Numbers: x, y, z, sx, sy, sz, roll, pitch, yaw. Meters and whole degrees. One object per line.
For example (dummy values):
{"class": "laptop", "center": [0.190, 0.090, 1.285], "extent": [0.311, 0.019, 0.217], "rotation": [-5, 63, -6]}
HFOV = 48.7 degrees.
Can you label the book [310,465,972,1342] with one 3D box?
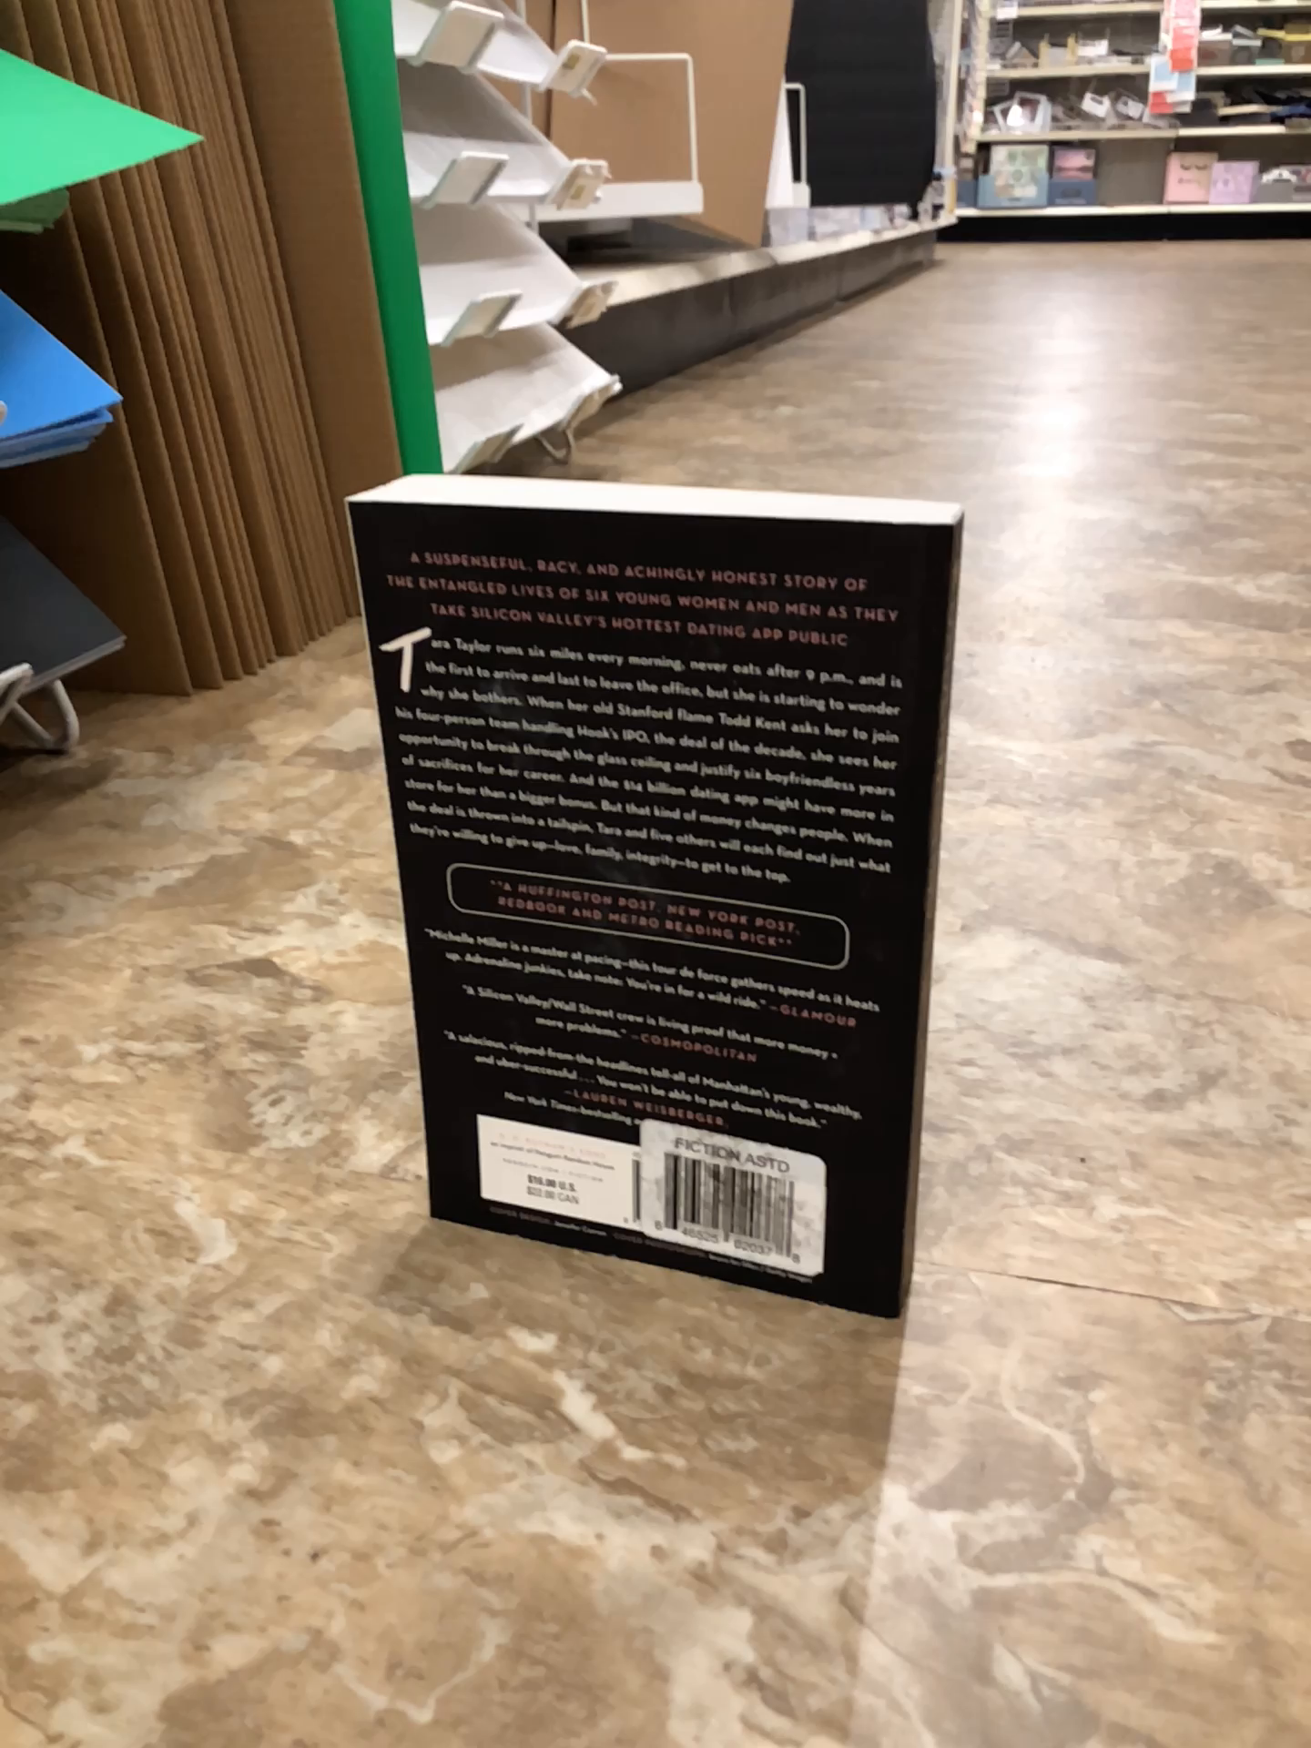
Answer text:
{"class": "book", "center": [-0.003, 0.009, 0.356], "extent": [0.140, 0.203, 0.035], "rotation": [7, 26, 18]}
